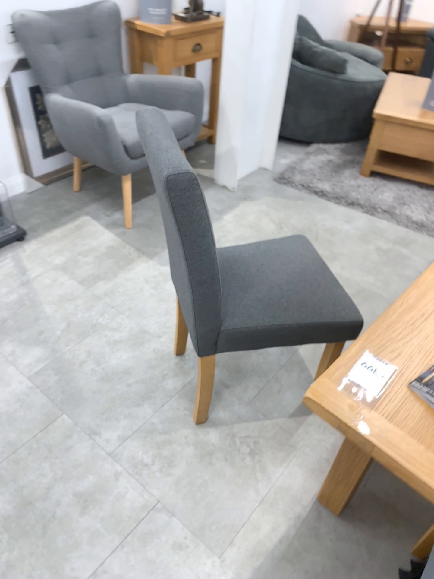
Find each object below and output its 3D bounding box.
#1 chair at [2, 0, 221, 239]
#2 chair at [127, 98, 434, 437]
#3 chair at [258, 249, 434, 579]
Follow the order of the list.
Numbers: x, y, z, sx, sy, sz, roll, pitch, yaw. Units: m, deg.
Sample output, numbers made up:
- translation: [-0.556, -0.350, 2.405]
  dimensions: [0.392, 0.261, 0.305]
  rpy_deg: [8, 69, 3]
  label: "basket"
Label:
- translation: [-0.439, -0.836, 2.110]
  dimensions: [0.584, 0.830, 0.668]
  rpy_deg: [28, 46, 24]
  label: "chair"
- translation: [0.114, -0.053, 1.321]
  dimensions: [0.643, 0.830, 0.448]
  rpy_deg: [-8, 42, -14]
  label: "chair"
- translation: [0.503, 0.545, 0.636]
  dimensions: [0.506, 0.899, 0.626]
  rpy_deg: [32, 48, 28]
  label: "chair"
